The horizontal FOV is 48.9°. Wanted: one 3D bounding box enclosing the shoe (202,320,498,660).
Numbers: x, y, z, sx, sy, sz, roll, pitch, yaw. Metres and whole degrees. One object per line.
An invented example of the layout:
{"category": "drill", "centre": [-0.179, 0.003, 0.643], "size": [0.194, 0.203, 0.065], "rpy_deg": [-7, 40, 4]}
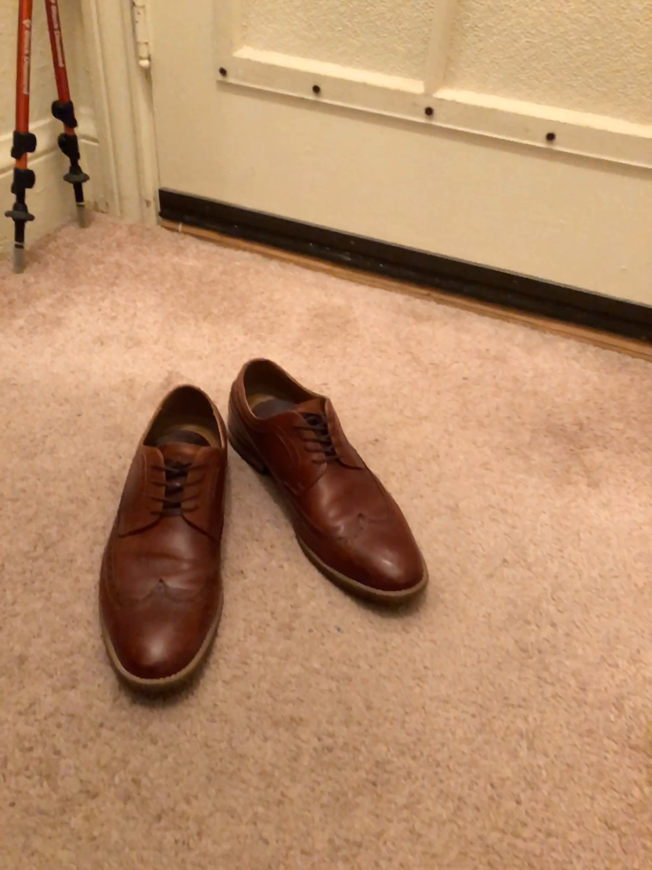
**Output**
{"category": "shoe", "centre": [0.001, 0.031, 0.667], "size": [0.115, 0.114, 0.311], "rpy_deg": [-18, 46, -25]}

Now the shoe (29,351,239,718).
{"category": "shoe", "centre": [-0.142, 0.066, 0.618], "size": [0.115, 0.114, 0.312], "rpy_deg": [2, 41, -4]}
